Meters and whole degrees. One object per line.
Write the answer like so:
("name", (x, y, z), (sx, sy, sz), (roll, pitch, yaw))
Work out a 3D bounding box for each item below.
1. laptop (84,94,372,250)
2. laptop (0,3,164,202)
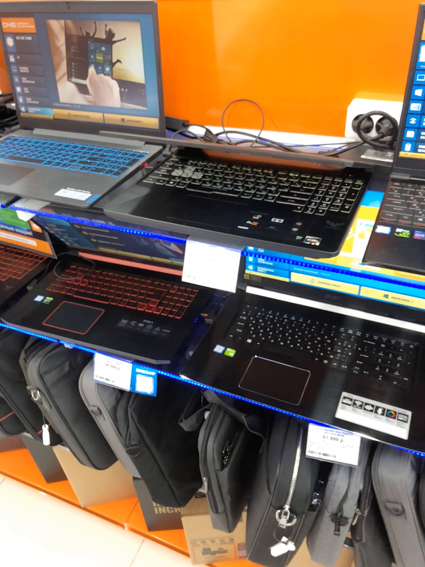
("laptop", (0.034, -0.187, 0.710), (0.347, 0.107, 0.240), (12, 40, 20))
("laptop", (-0.323, -0.343, 0.835), (0.357, 0.235, 0.284), (12, 40, 21))
